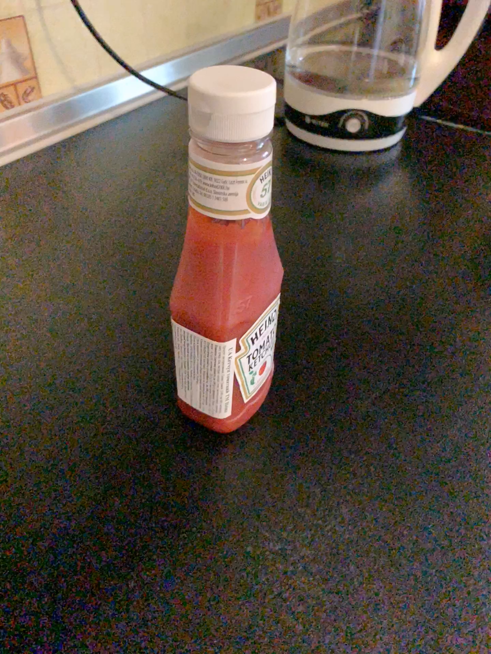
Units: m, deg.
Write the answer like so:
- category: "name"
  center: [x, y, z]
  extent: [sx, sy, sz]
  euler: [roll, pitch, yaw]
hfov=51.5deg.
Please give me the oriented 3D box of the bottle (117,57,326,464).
- category: "bottle"
  center: [-0.010, -0.020, 0.257]
  extent: [0.050, 0.189, 0.070]
  euler: [23, 46, 20]
